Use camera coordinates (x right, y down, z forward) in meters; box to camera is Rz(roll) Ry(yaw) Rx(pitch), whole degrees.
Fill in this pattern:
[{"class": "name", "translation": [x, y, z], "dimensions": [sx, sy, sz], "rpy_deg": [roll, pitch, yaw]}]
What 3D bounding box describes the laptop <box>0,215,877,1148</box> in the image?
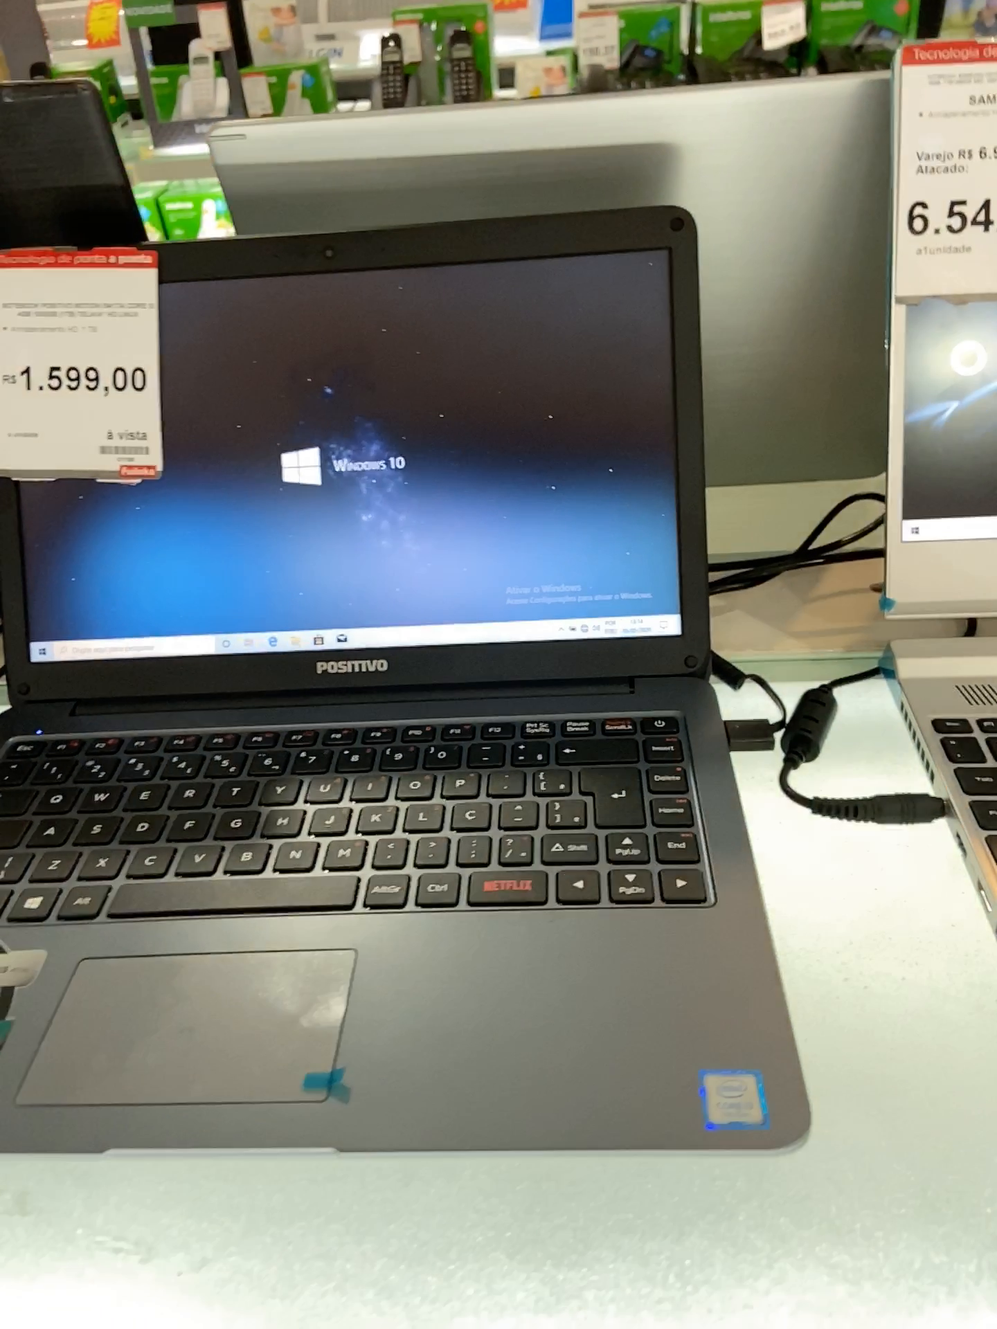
[{"class": "laptop", "translation": [-0.077, -0.028, 0.374], "dimensions": [0.318, 0.171, 0.326], "rpy_deg": [-3, 34, 5]}]
